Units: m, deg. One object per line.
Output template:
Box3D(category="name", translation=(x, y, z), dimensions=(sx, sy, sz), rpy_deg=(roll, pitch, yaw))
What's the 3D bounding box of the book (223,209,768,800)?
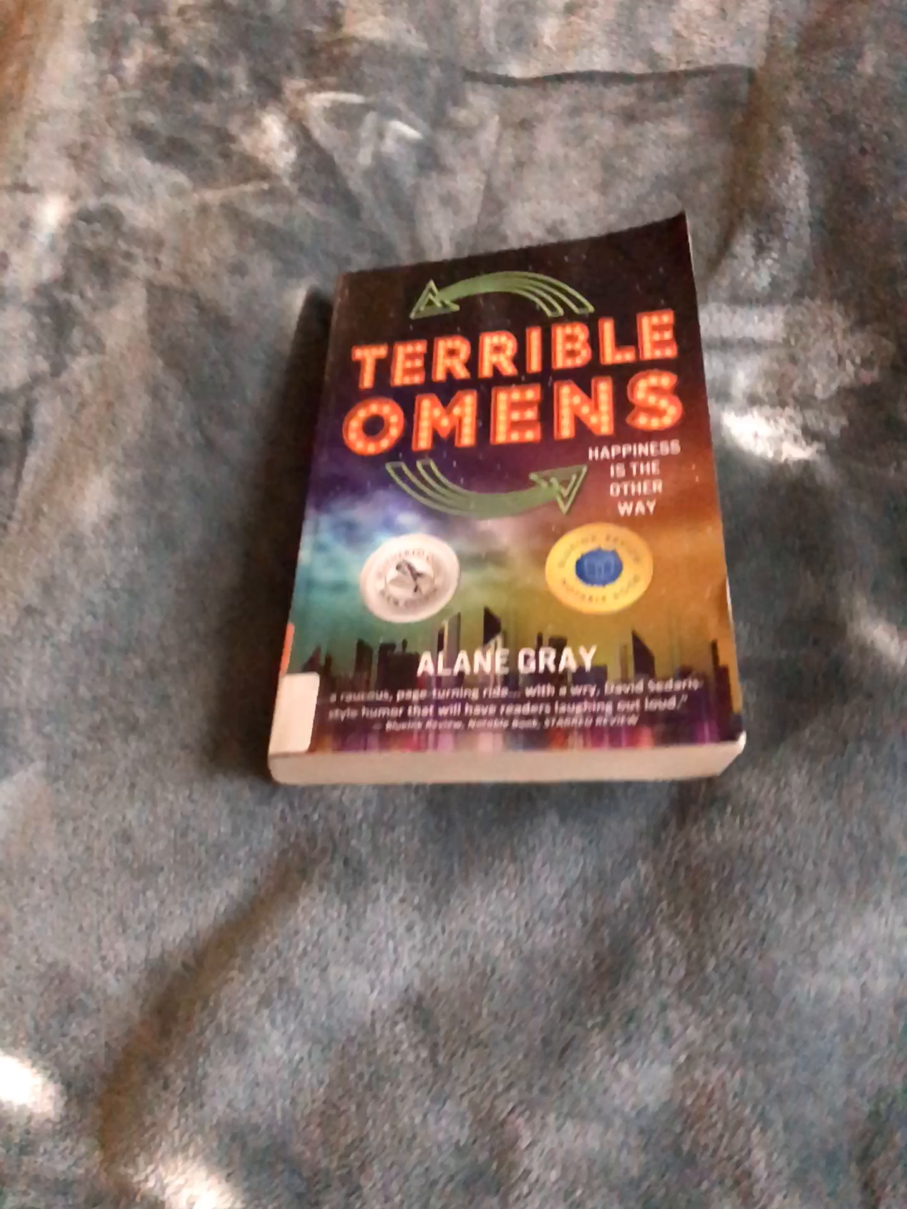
Box3D(category="book", translation=(0.013, -0.040, 0.319), dimensions=(0.140, 0.028, 0.200), rpy_deg=(-3, 59, 9))
